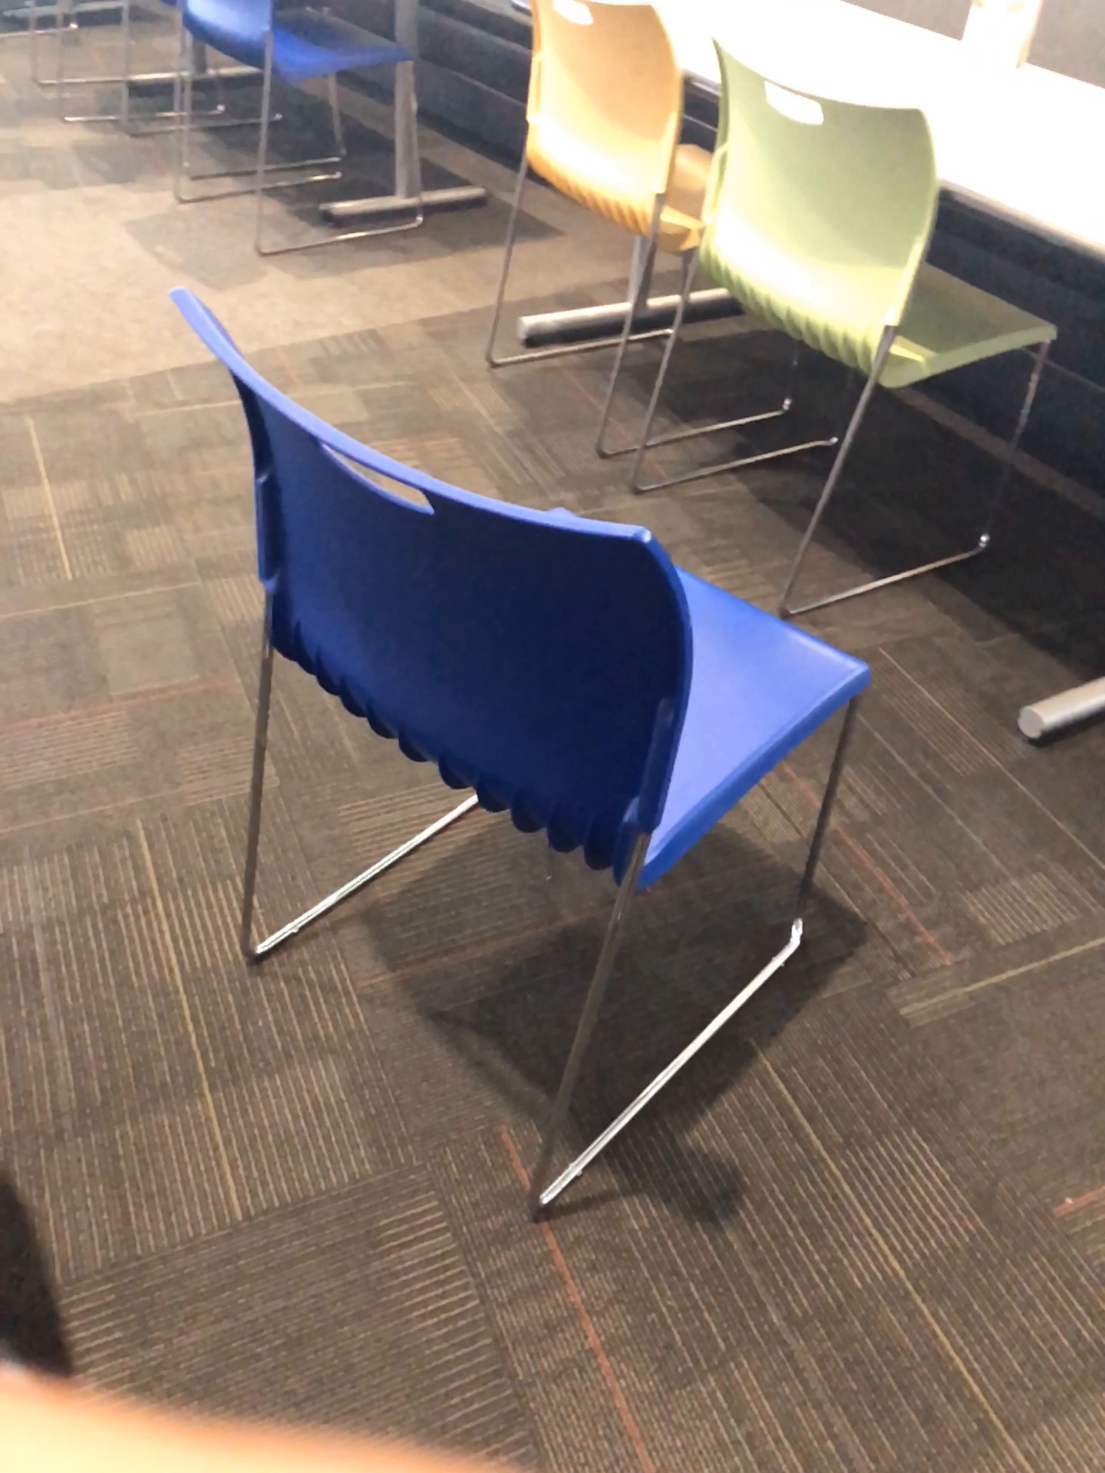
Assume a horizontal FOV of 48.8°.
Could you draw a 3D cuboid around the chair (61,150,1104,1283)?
[{"bbox_3d":[0.014,-0.055,1.196,0.581,0.756,0.591,33,47,28],"label":"chair"}]
